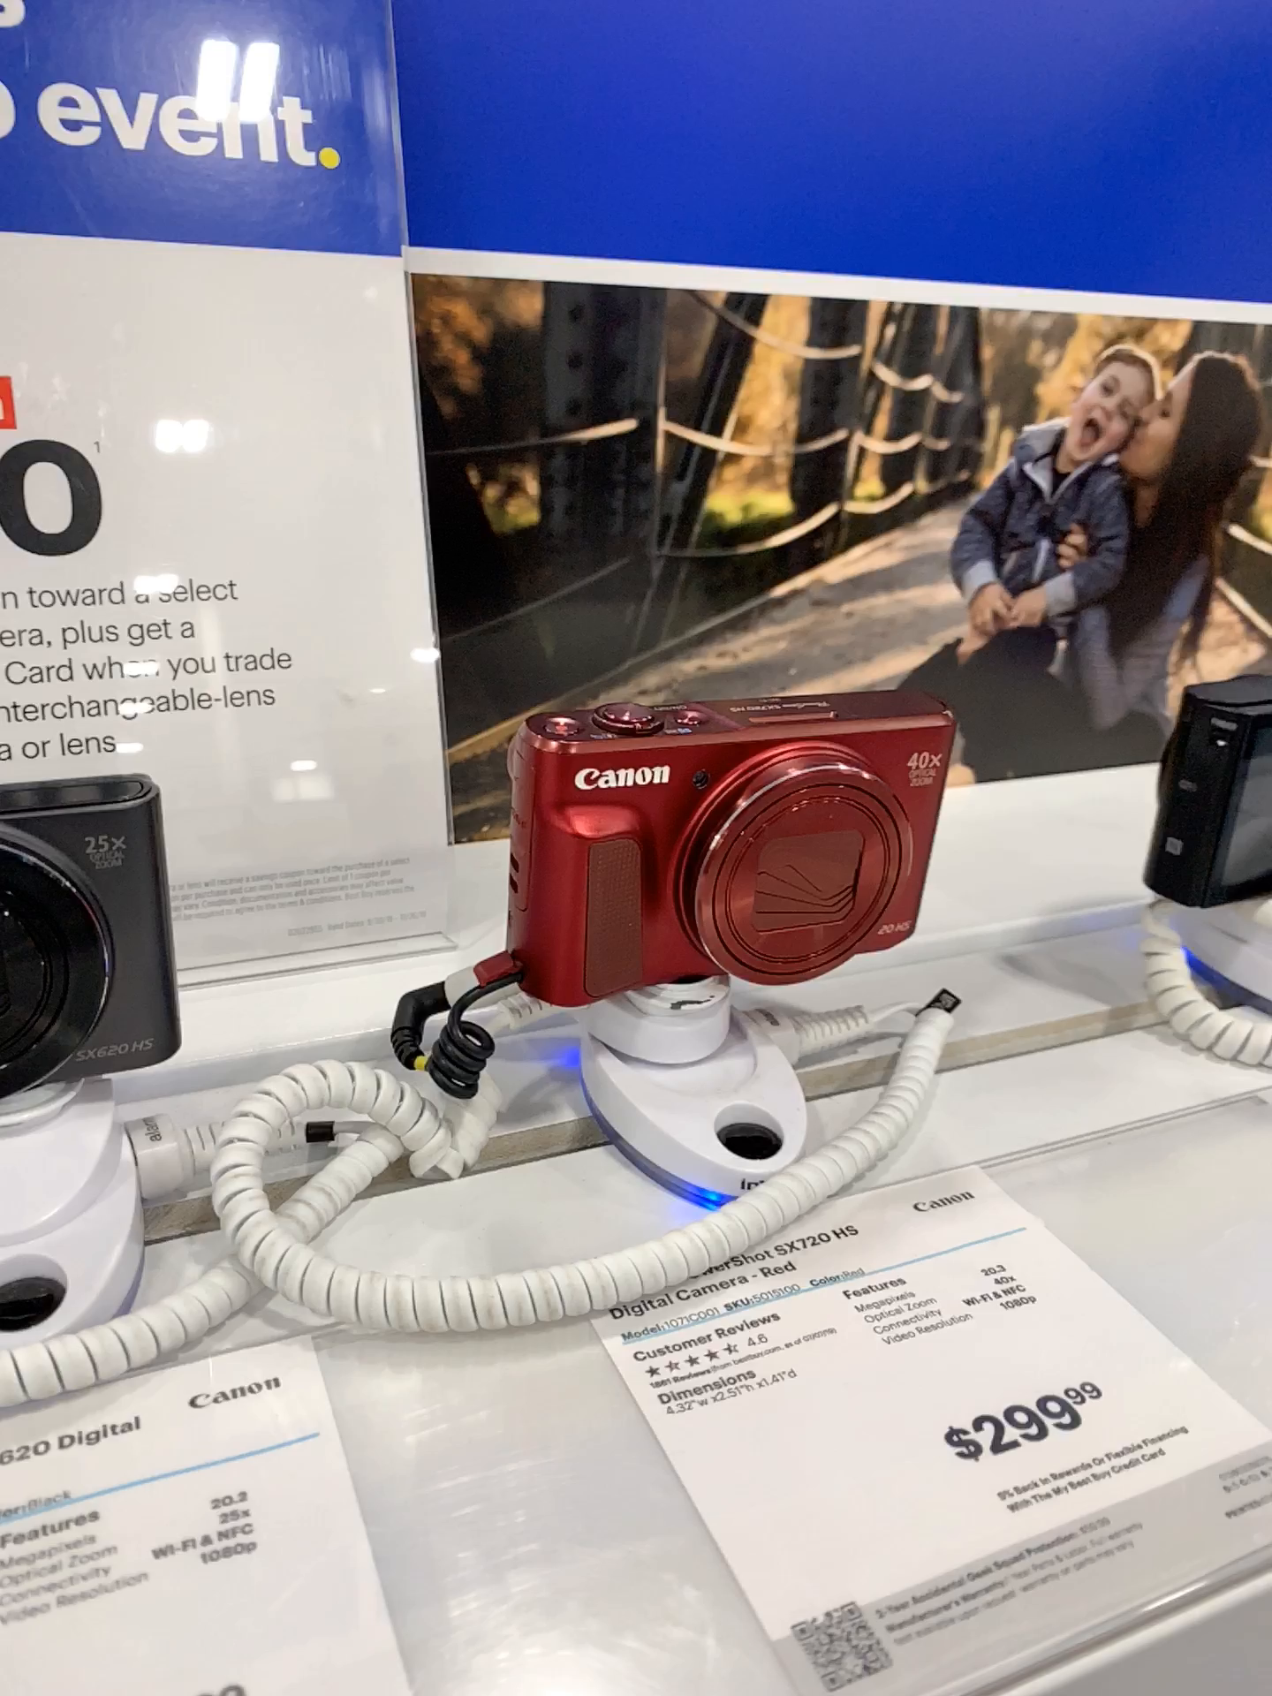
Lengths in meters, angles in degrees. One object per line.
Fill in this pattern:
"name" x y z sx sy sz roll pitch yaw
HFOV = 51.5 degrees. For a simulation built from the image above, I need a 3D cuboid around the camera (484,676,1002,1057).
"camera" 0.023 0.002 0.303 0.110 0.070 0.030 -6 27 -21
